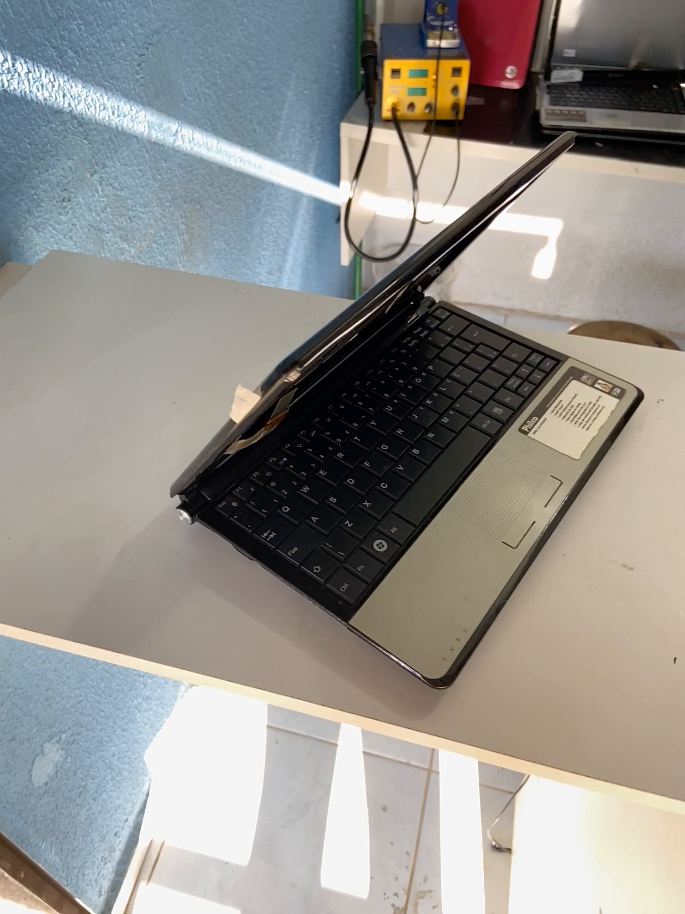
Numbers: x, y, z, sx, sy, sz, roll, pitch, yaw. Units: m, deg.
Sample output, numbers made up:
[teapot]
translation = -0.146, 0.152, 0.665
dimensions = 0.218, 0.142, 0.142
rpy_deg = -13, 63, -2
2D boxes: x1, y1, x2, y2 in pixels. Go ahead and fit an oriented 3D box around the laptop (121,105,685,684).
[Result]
[laptop]
translation = 0.057, -0.059, 0.407
dimensions = 0.176, 0.144, 0.276
rpy_deg = 30, 53, 23
